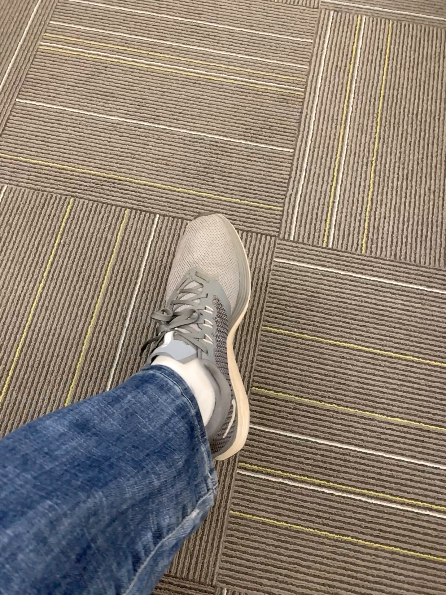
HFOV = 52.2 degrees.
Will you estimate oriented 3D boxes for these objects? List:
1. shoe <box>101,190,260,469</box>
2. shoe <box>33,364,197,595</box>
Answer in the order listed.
[{"bbox_3d":[-0.044,0.044,0.545,0.127,0.115,0.297,-13,65,28],"label":"shoe"},{"bbox_3d":[-0.165,0.298,0.793,0.124,0.180,0.310,20,72,6],"label":"shoe"}]
